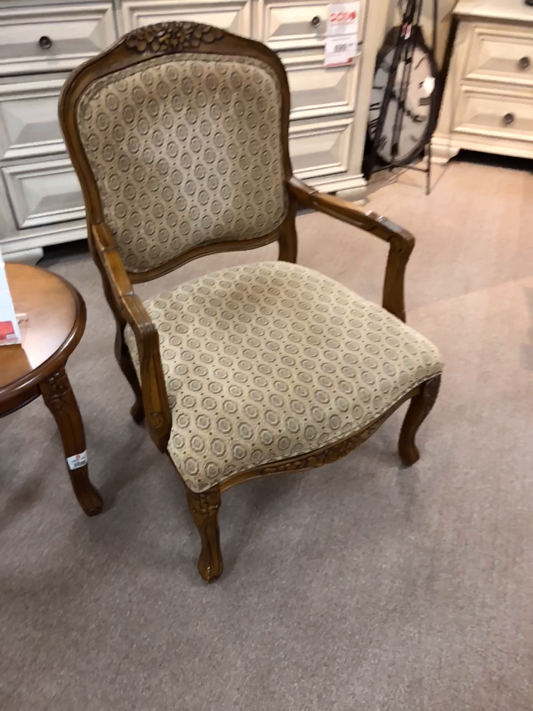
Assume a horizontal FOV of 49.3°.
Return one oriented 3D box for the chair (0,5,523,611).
[{"bbox_3d":[-0.090,-0.137,1.399,0.781,1.062,0.704,-22,46,-25],"label":"chair"}]
